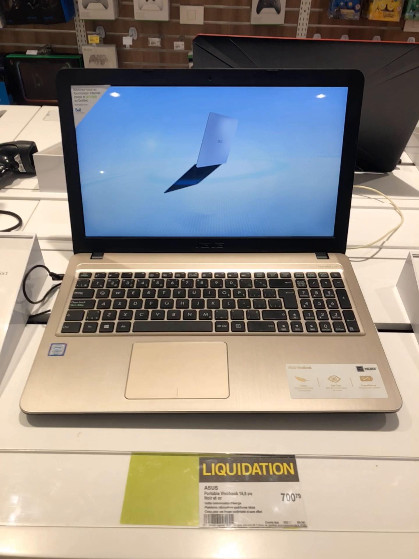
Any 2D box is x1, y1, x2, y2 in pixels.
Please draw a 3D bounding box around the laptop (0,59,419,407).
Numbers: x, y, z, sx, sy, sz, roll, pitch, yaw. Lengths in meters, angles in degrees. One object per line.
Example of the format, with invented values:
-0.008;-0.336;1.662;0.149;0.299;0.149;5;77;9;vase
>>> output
0.003;-0.072;0.517;0.370;0.204;0.339;1;43;-2;laptop
